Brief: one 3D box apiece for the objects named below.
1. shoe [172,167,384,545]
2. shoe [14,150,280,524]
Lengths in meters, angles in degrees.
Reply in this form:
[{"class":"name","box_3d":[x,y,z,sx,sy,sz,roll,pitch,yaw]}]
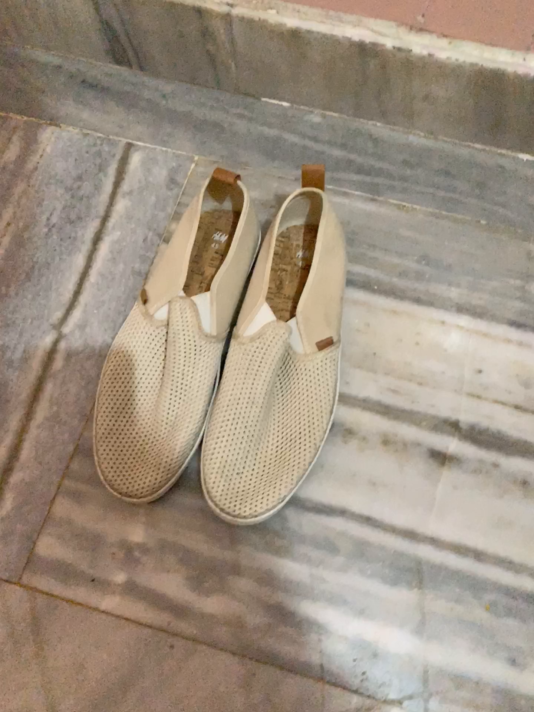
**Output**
[{"class":"shoe","box_3d":[0.018,-0.007,0.482,0.116,0.080,0.310,11,69,4]},{"class":"shoe","box_3d":[-0.088,-0.025,0.490,0.116,0.080,0.310,16,70,6]}]
